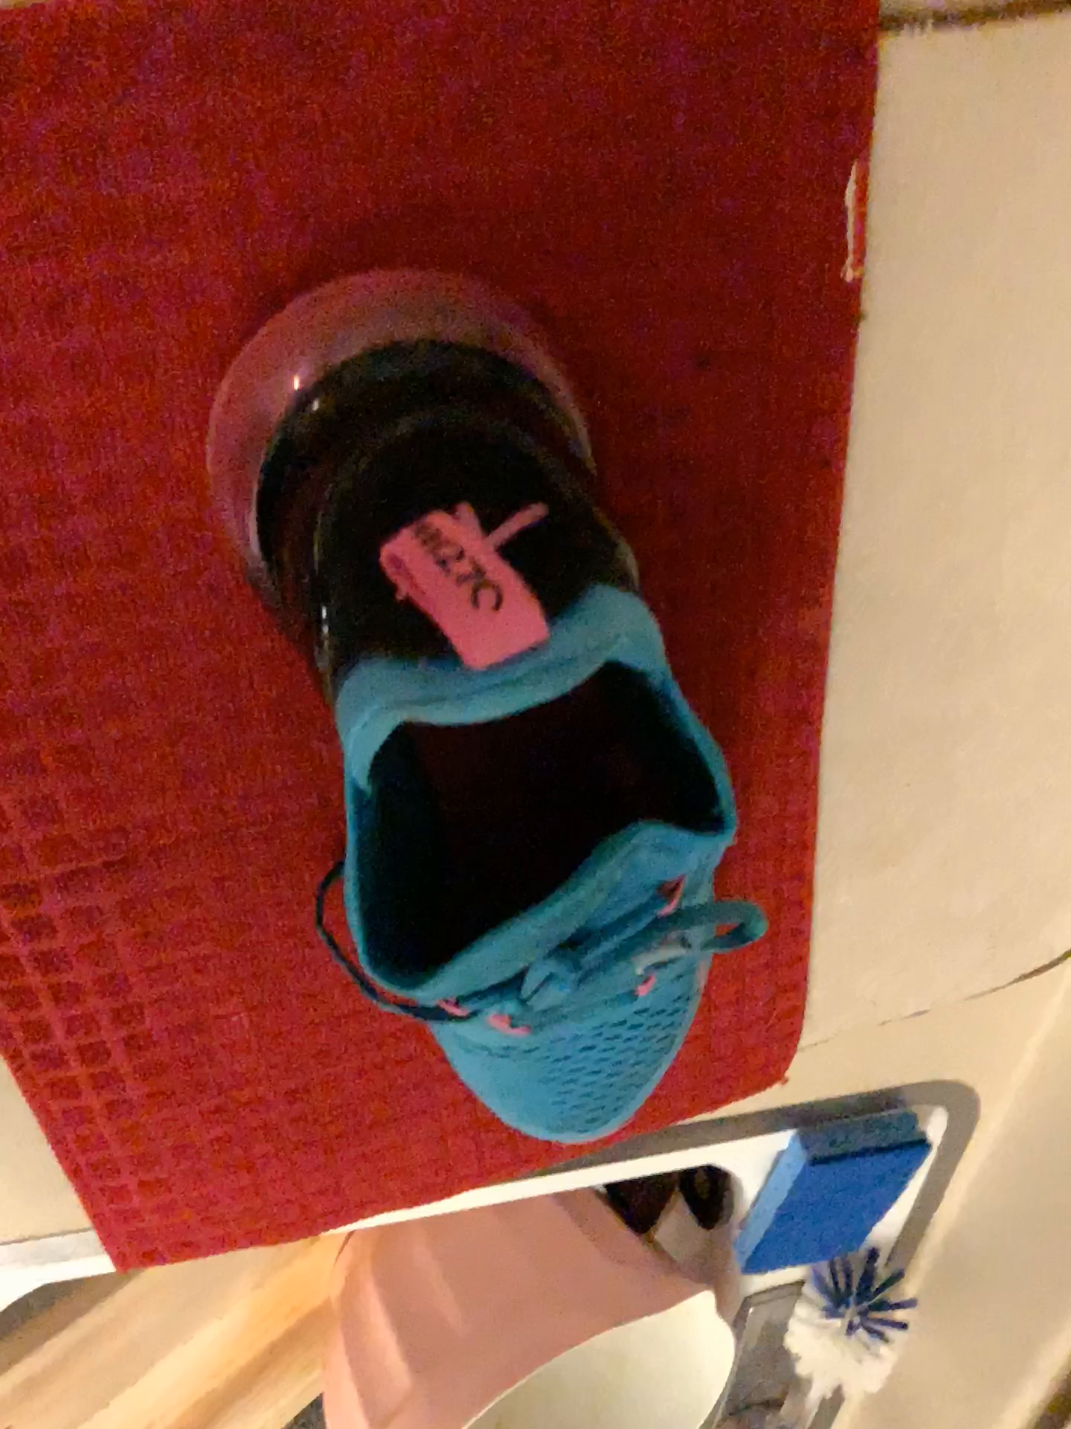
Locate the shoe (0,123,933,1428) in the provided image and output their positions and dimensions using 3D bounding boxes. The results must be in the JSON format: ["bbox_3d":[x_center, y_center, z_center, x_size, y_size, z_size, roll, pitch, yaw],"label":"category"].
[{"bbox_3d":[0.006,0.044,0.329,0.150,0.130,0.330,-19,128,-6],"label":"shoe"}]
